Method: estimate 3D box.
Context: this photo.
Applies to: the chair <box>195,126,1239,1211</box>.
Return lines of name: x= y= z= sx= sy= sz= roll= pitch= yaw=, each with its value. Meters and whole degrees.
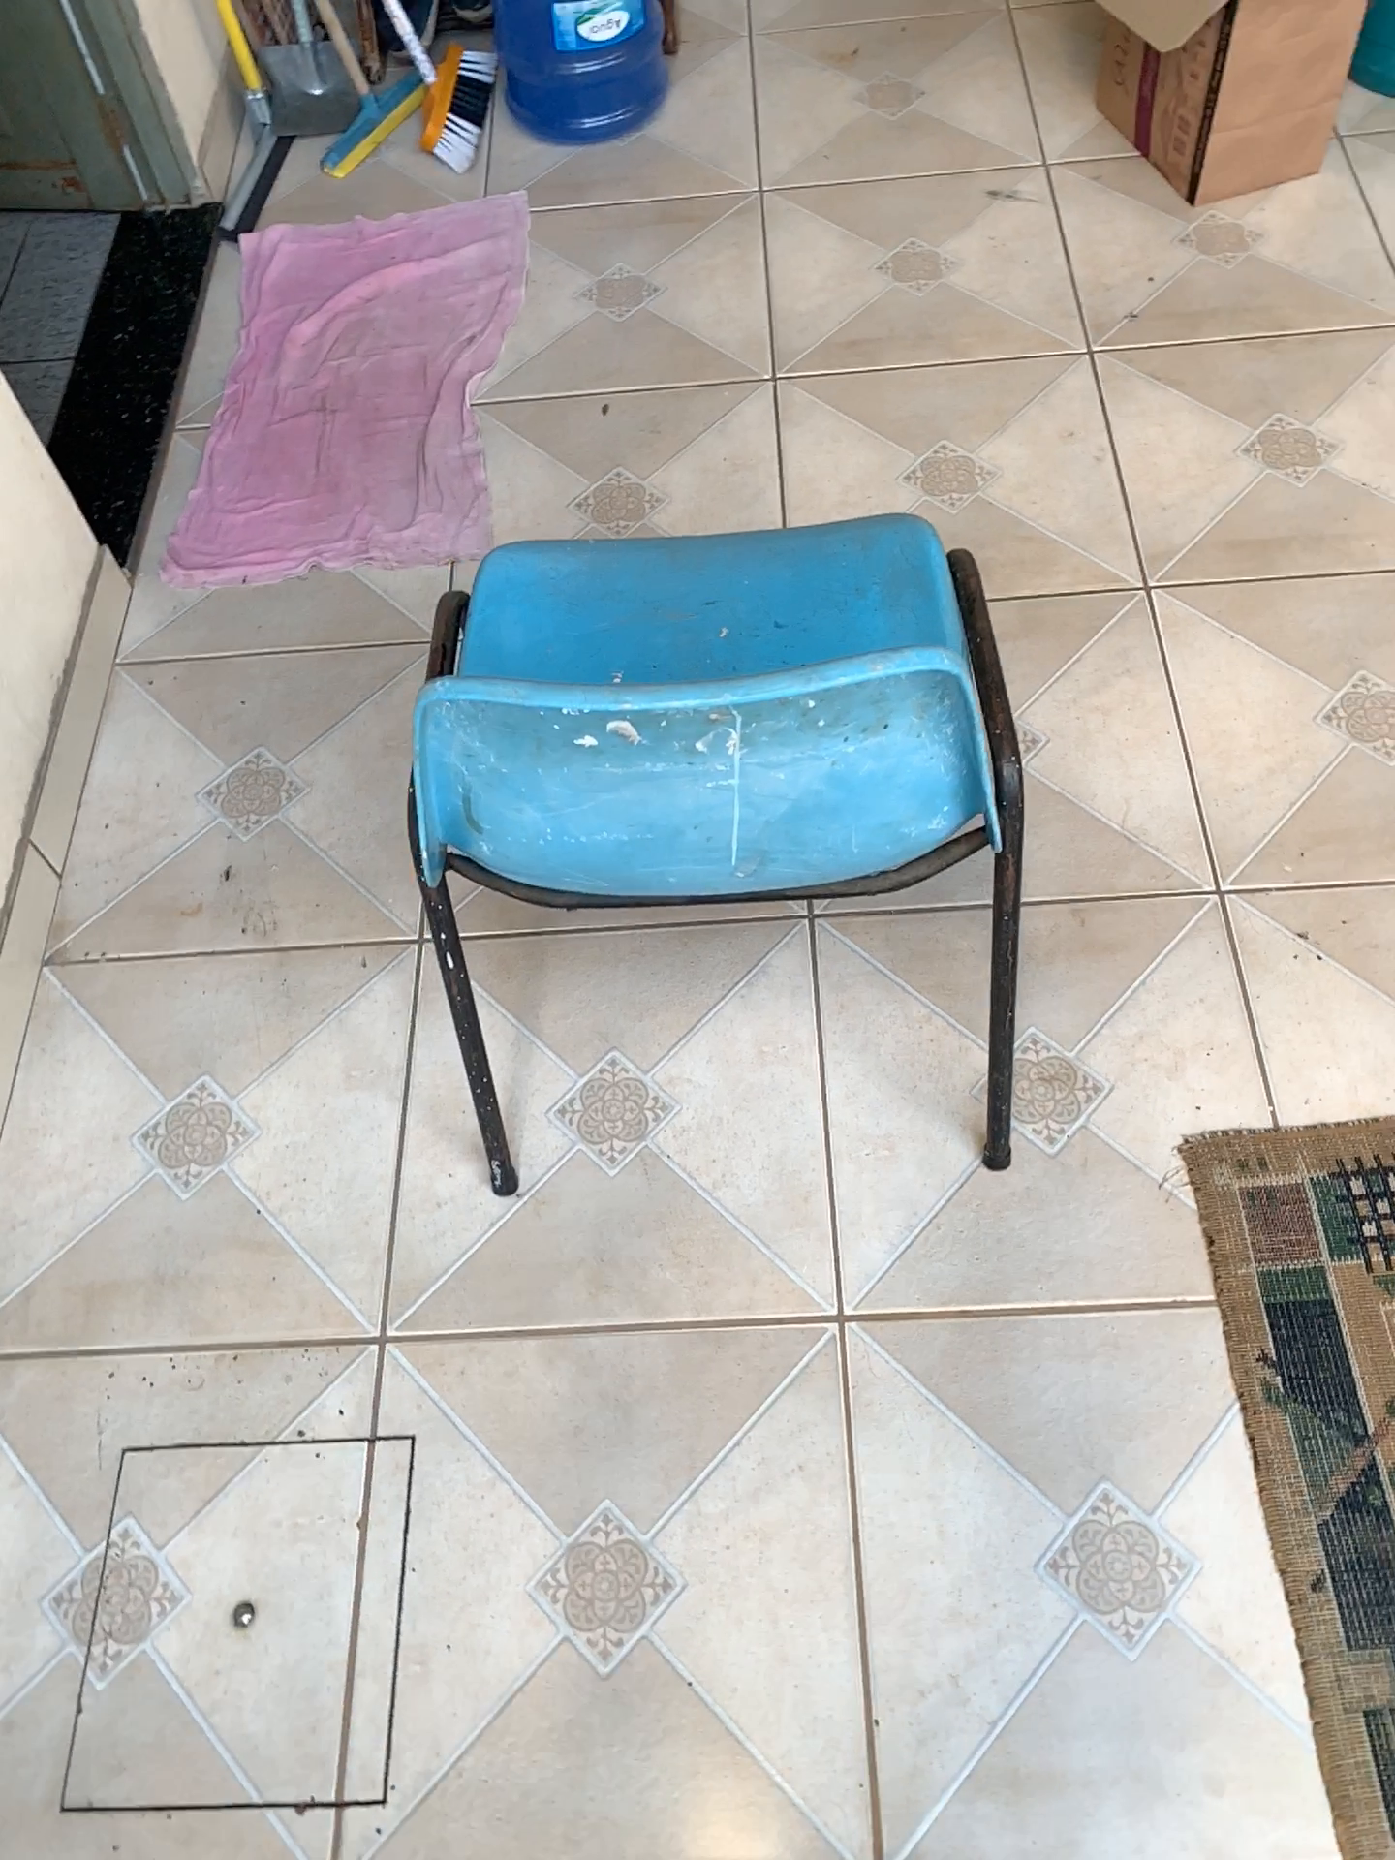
chair: x=0.020 y=-0.154 z=1.180 sx=0.550 sy=0.688 sz=0.532 roll=-3 pitch=59 yaw=2
